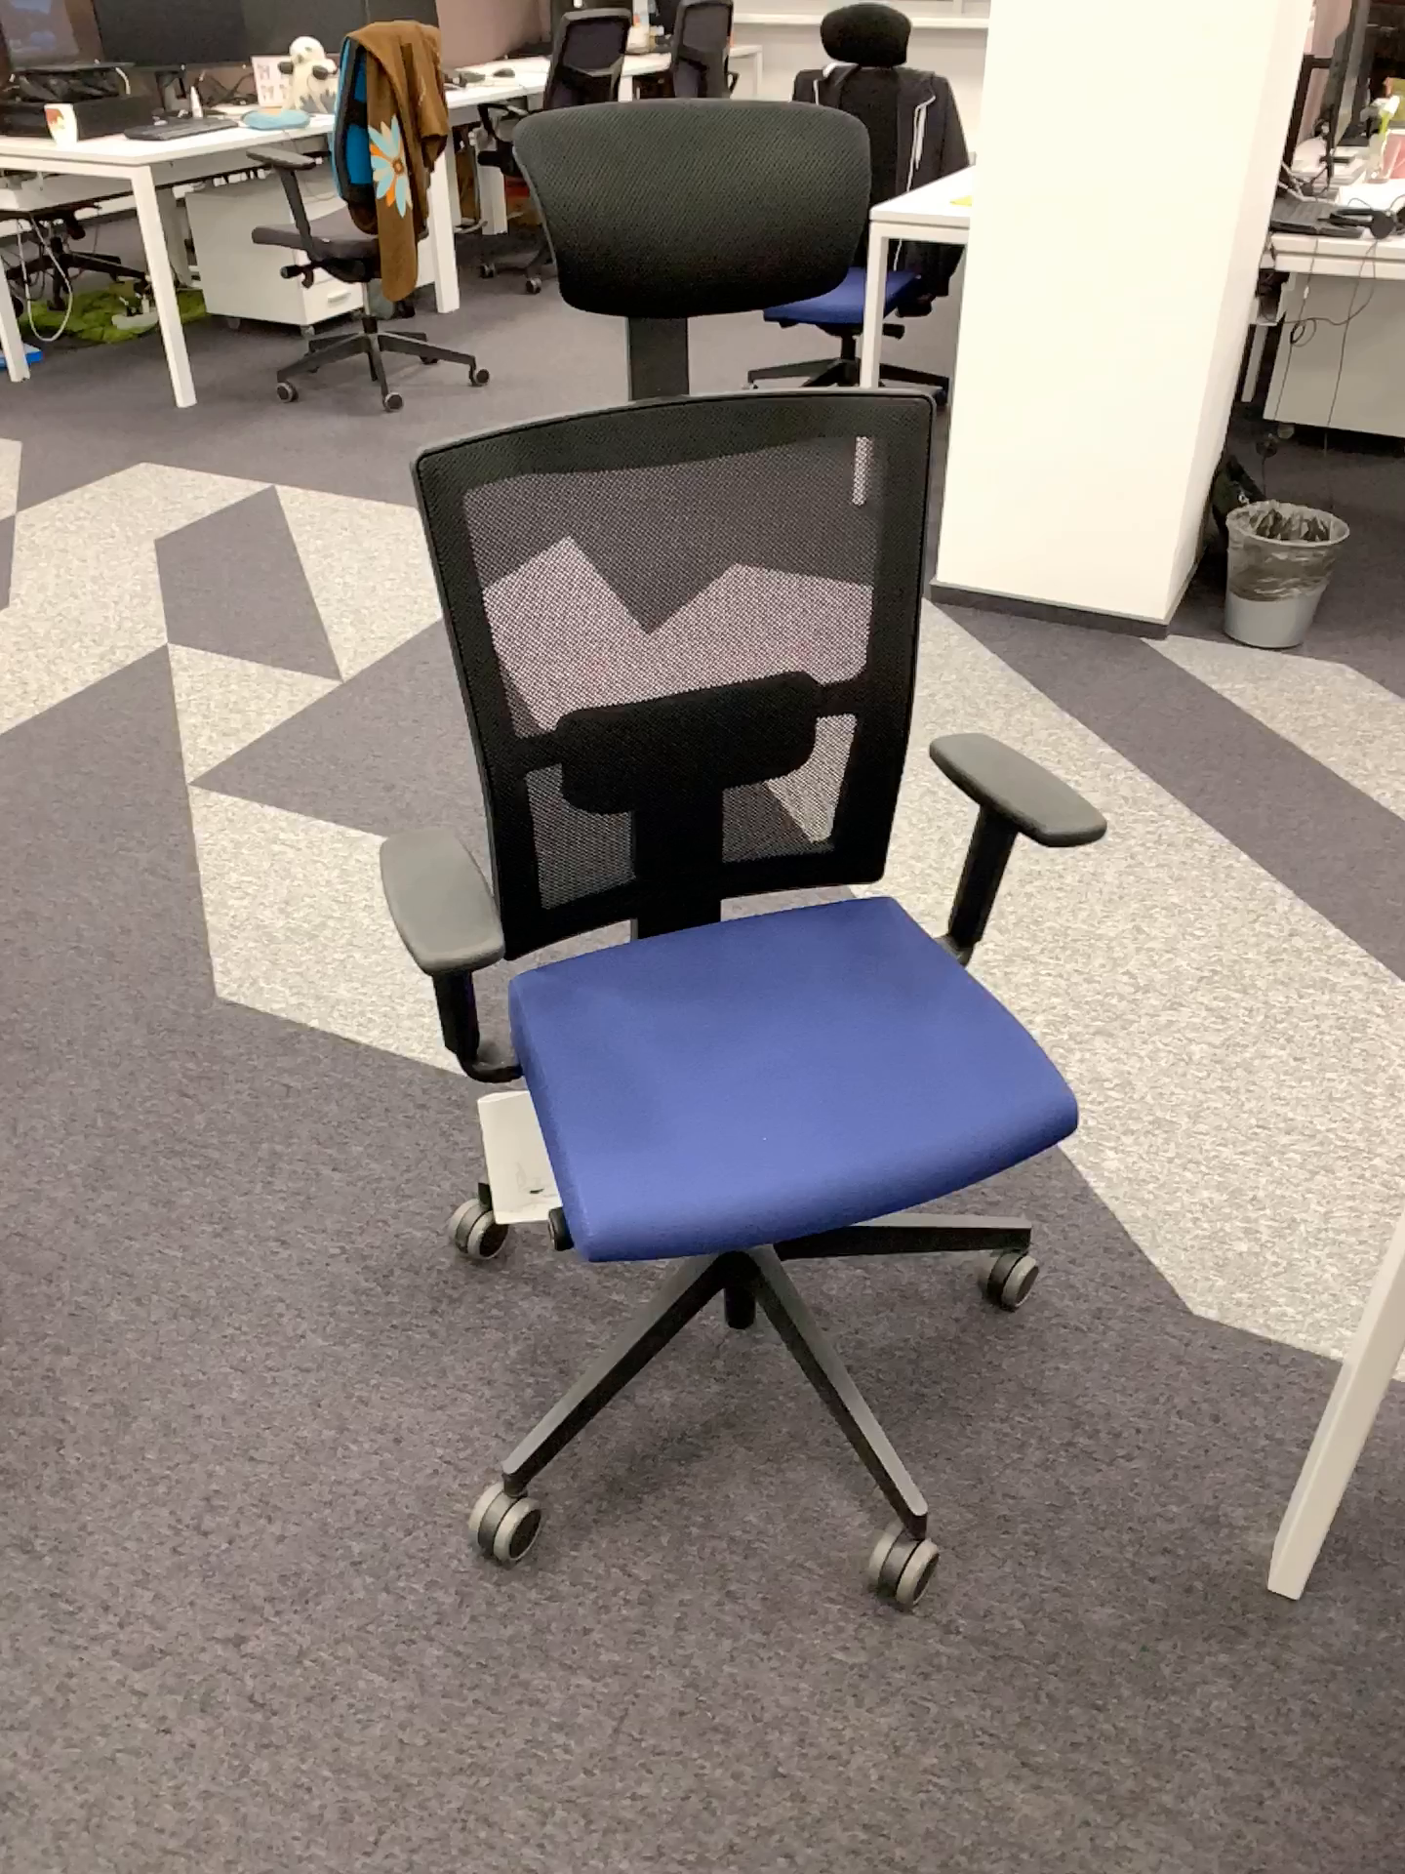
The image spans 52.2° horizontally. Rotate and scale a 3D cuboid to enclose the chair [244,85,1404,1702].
[{"bbox_3d":[0.084,-0.026,1.323,0.730,1.243,0.674,-7,36,-10],"label":"chair"}]
